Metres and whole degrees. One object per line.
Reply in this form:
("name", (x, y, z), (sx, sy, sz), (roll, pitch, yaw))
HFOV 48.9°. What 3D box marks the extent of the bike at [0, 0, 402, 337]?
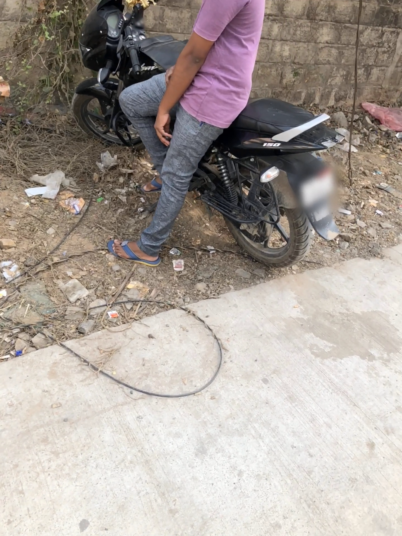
("bike", (-0.219, -0.783, 2.228), (1.813, 1.214, 0.818), (33, 41, 26))
